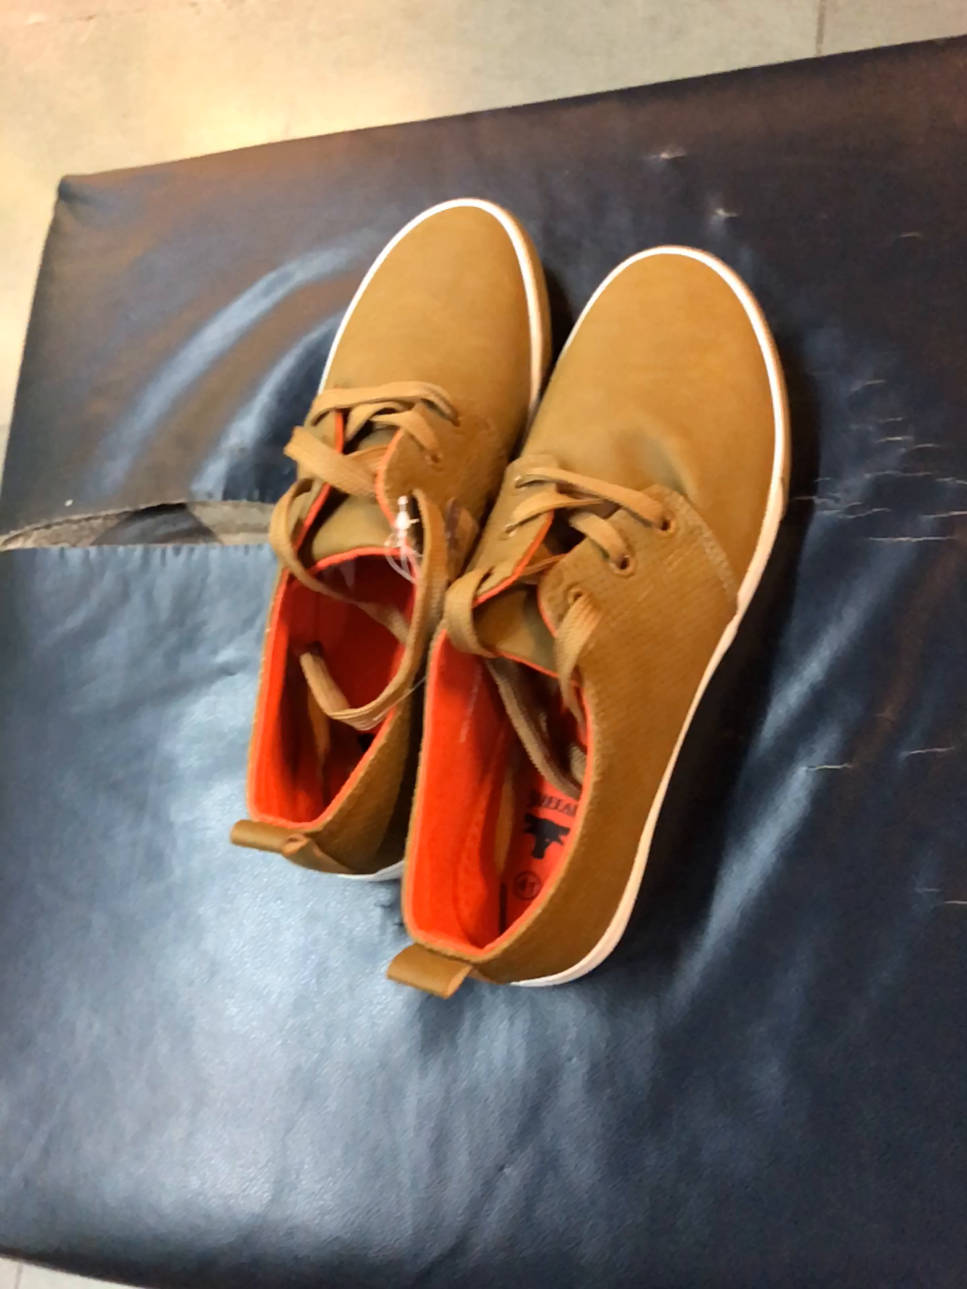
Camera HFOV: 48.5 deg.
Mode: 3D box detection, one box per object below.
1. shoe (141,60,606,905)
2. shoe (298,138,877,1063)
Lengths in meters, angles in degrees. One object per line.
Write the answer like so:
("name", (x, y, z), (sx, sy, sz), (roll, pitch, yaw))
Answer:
("shoe", (-0.024, -0.052, 0.377), (0.100, 0.097, 0.266), (1, 73, 18))
("shoe", (0.045, -0.018, 0.343), (0.095, 0.091, 0.261), (13, 77, 21))
